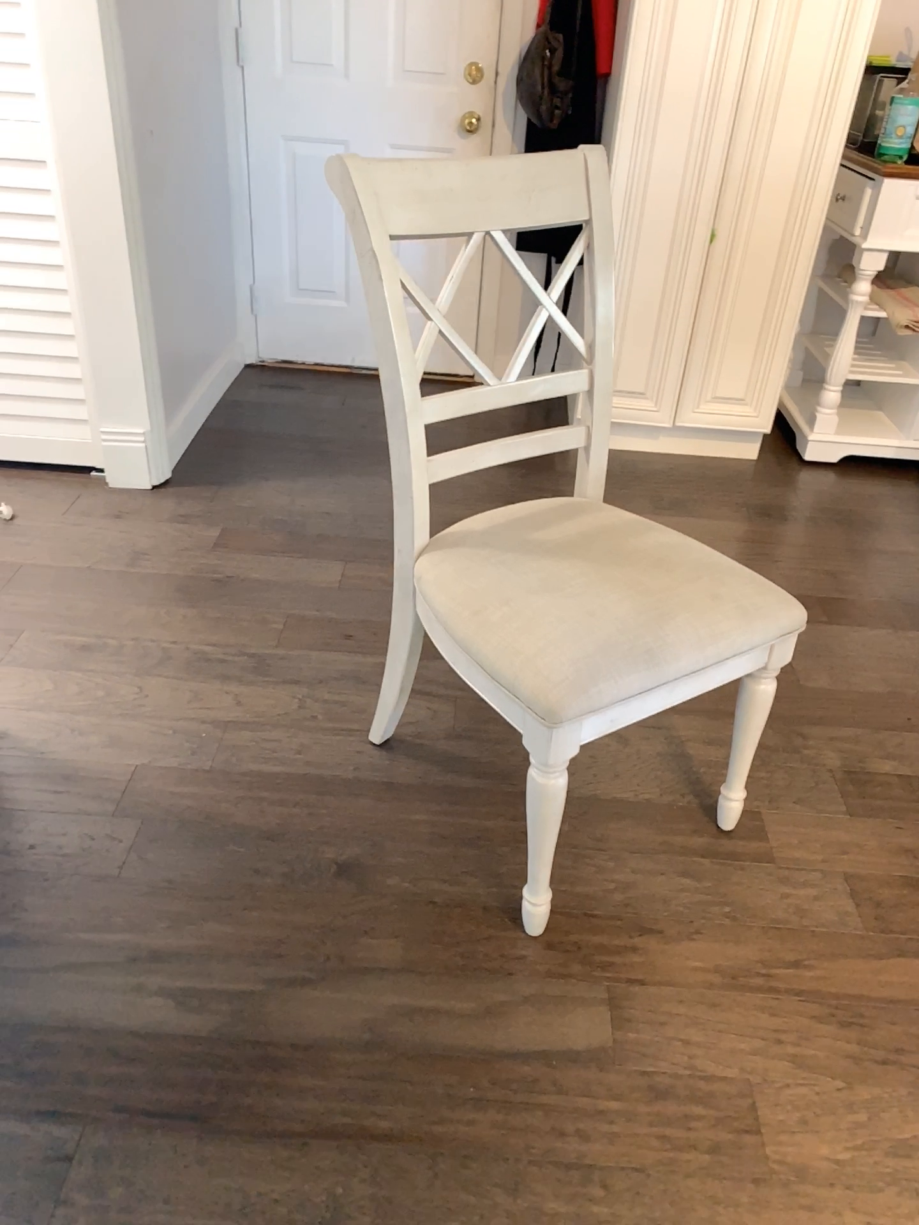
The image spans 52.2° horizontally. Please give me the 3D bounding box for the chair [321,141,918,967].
[{"bbox_3d":[0.186,-0.131,1.380,0.531,0.924,0.653,-16,38,-29],"label":"chair"}]
